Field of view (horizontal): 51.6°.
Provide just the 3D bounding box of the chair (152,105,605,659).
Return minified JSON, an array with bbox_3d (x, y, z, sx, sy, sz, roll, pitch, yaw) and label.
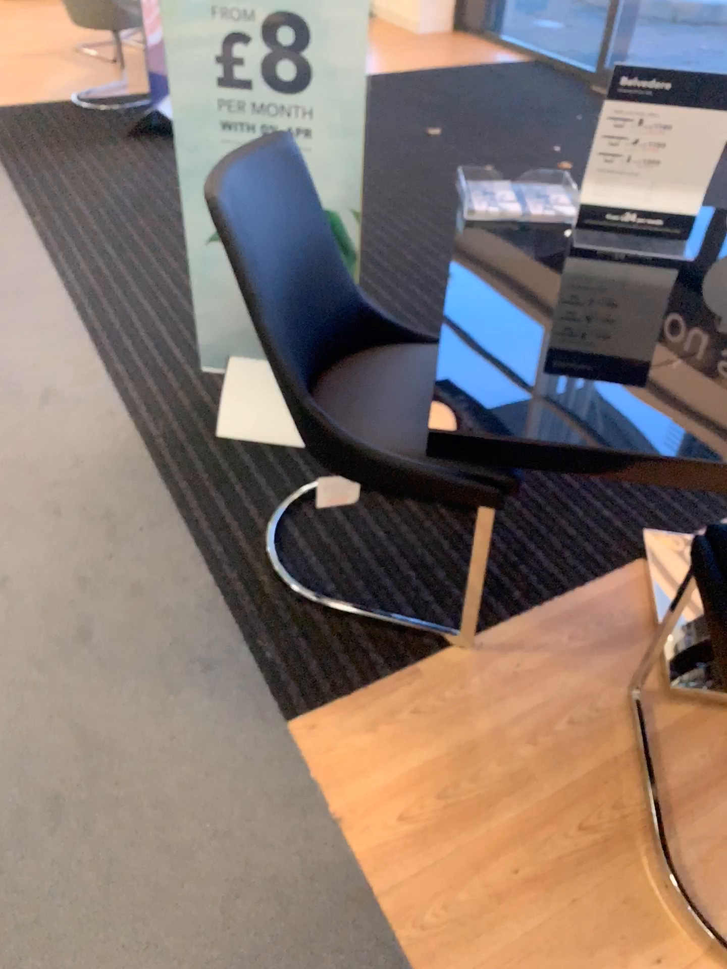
[{"bbox_3d":[0.046,-0.195,1.469,0.610,0.811,0.535,13,42,10],"label":"chair"}]
